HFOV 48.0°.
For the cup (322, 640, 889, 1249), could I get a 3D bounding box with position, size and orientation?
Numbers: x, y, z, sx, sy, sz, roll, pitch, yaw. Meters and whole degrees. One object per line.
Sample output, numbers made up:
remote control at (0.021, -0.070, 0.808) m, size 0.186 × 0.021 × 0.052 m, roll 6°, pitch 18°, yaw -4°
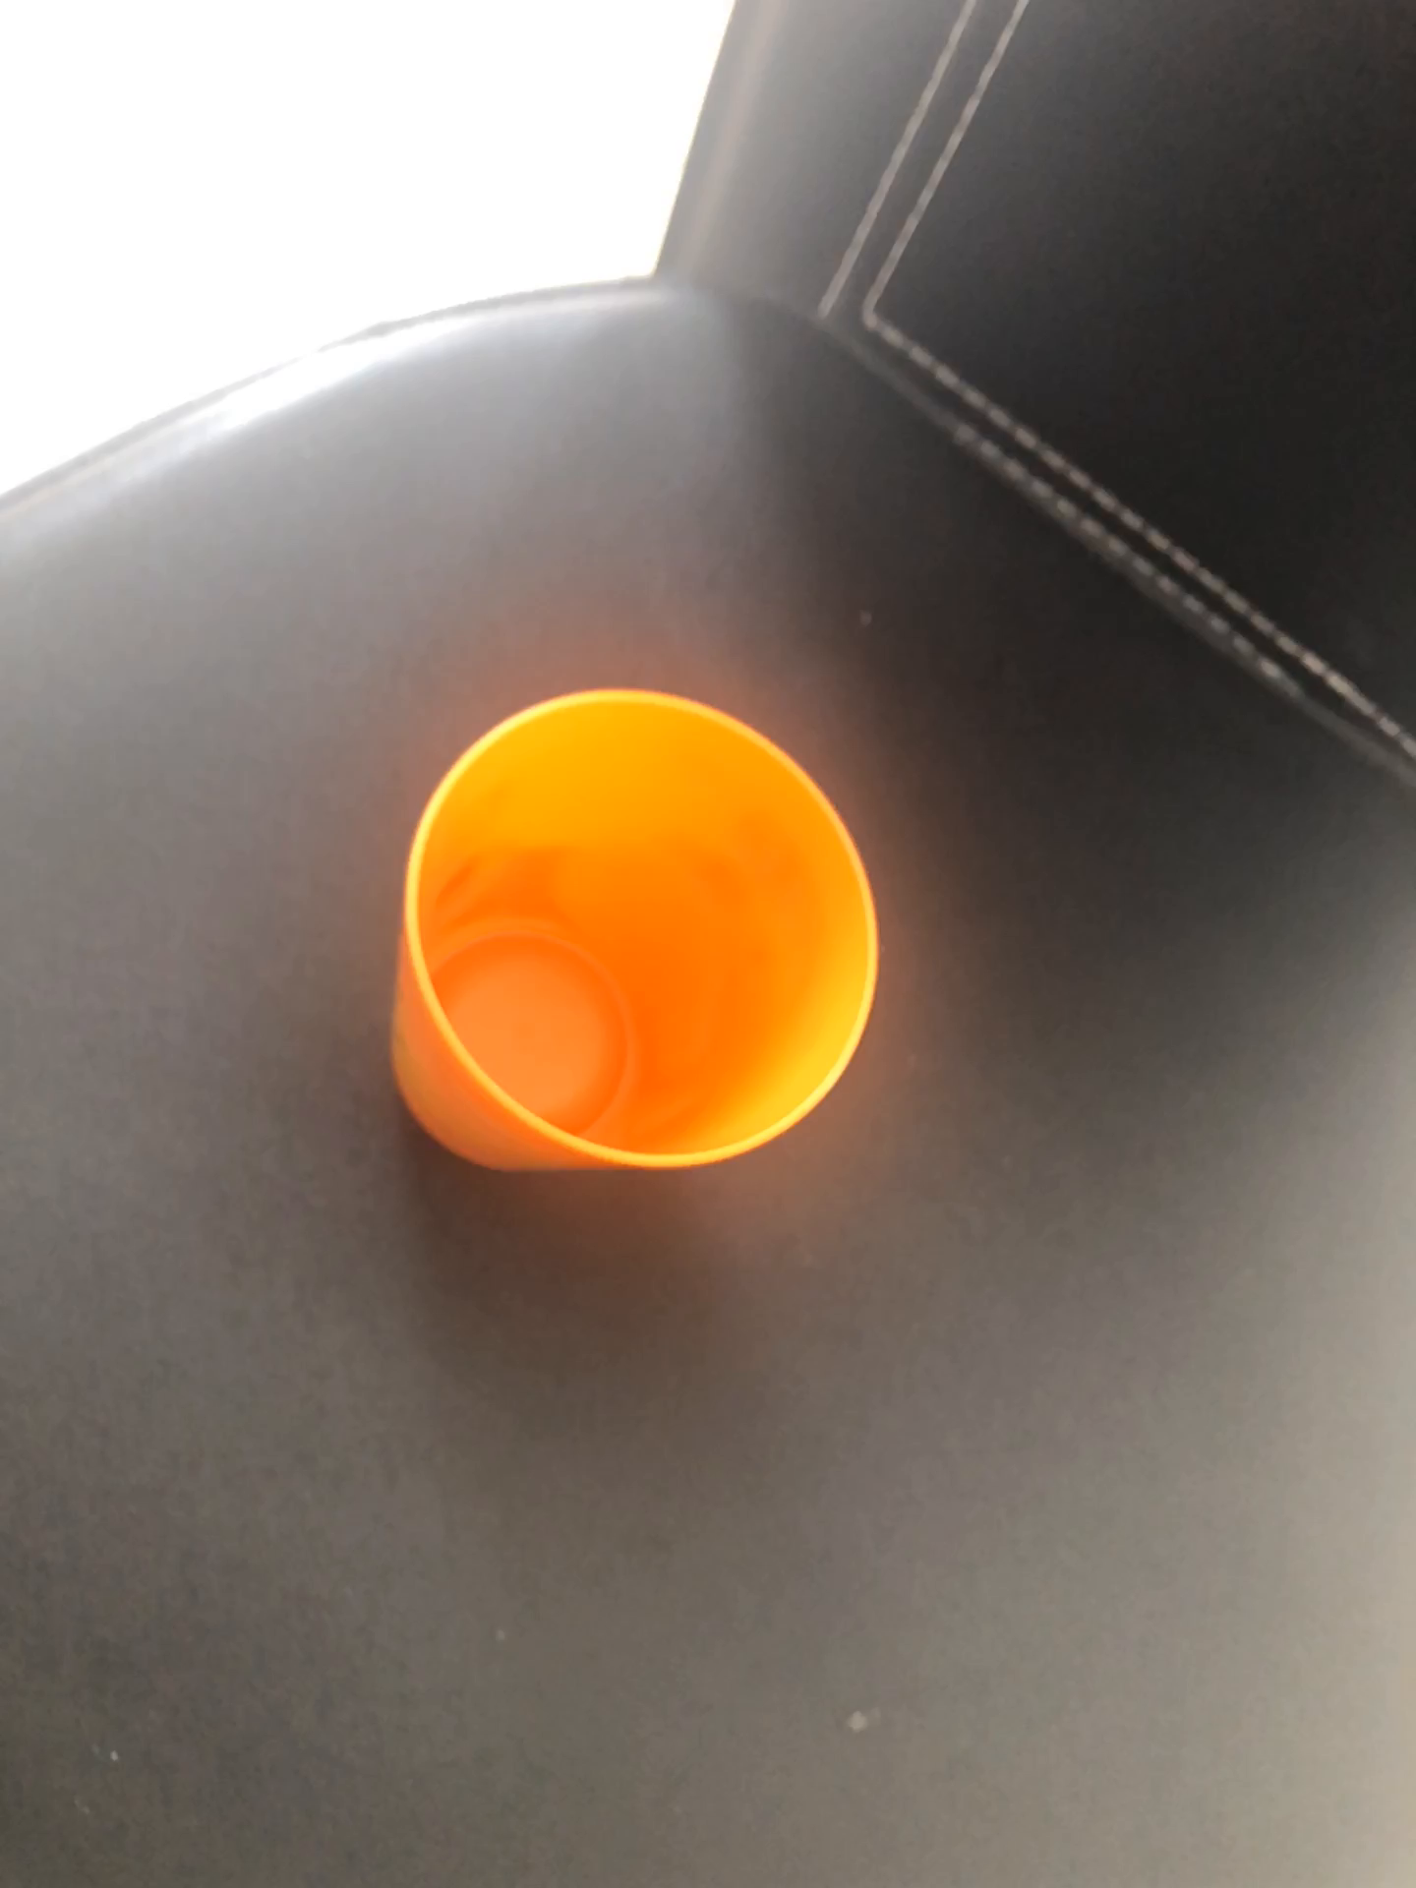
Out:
cup at (-0.022, 0.007, 0.297) m, size 0.080 × 0.090 × 0.080 m, roll 6°, pitch 71°, yaw -17°
